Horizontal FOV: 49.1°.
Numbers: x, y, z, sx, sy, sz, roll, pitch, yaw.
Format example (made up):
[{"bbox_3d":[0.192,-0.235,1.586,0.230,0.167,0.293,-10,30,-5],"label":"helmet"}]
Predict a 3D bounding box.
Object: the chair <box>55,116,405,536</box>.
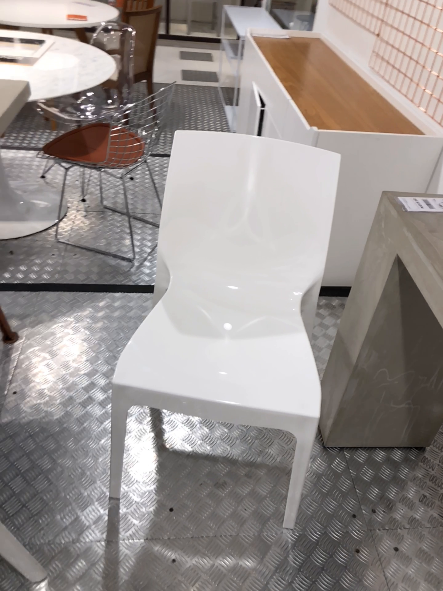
[{"bbox_3d":[0.011,0.077,1.161,0.520,0.764,0.544,9,39,3],"label":"chair"}]
